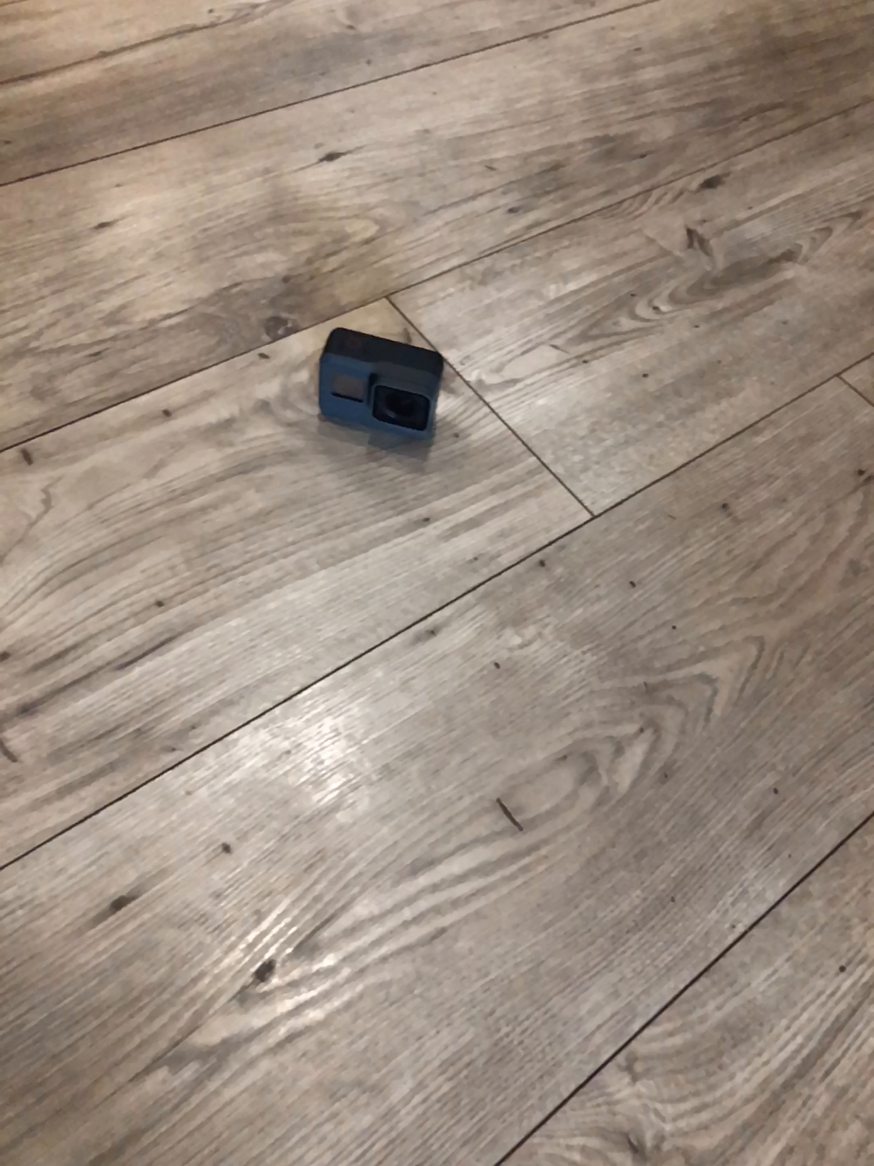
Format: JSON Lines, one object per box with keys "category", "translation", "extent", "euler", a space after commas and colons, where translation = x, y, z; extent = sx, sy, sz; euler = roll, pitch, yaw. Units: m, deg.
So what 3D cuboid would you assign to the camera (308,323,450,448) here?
{"category": "camera", "translation": [-0.031, -0.102, 0.501], "extent": [0.065, 0.040, 0.032], "euler": [13, 56, 0]}
